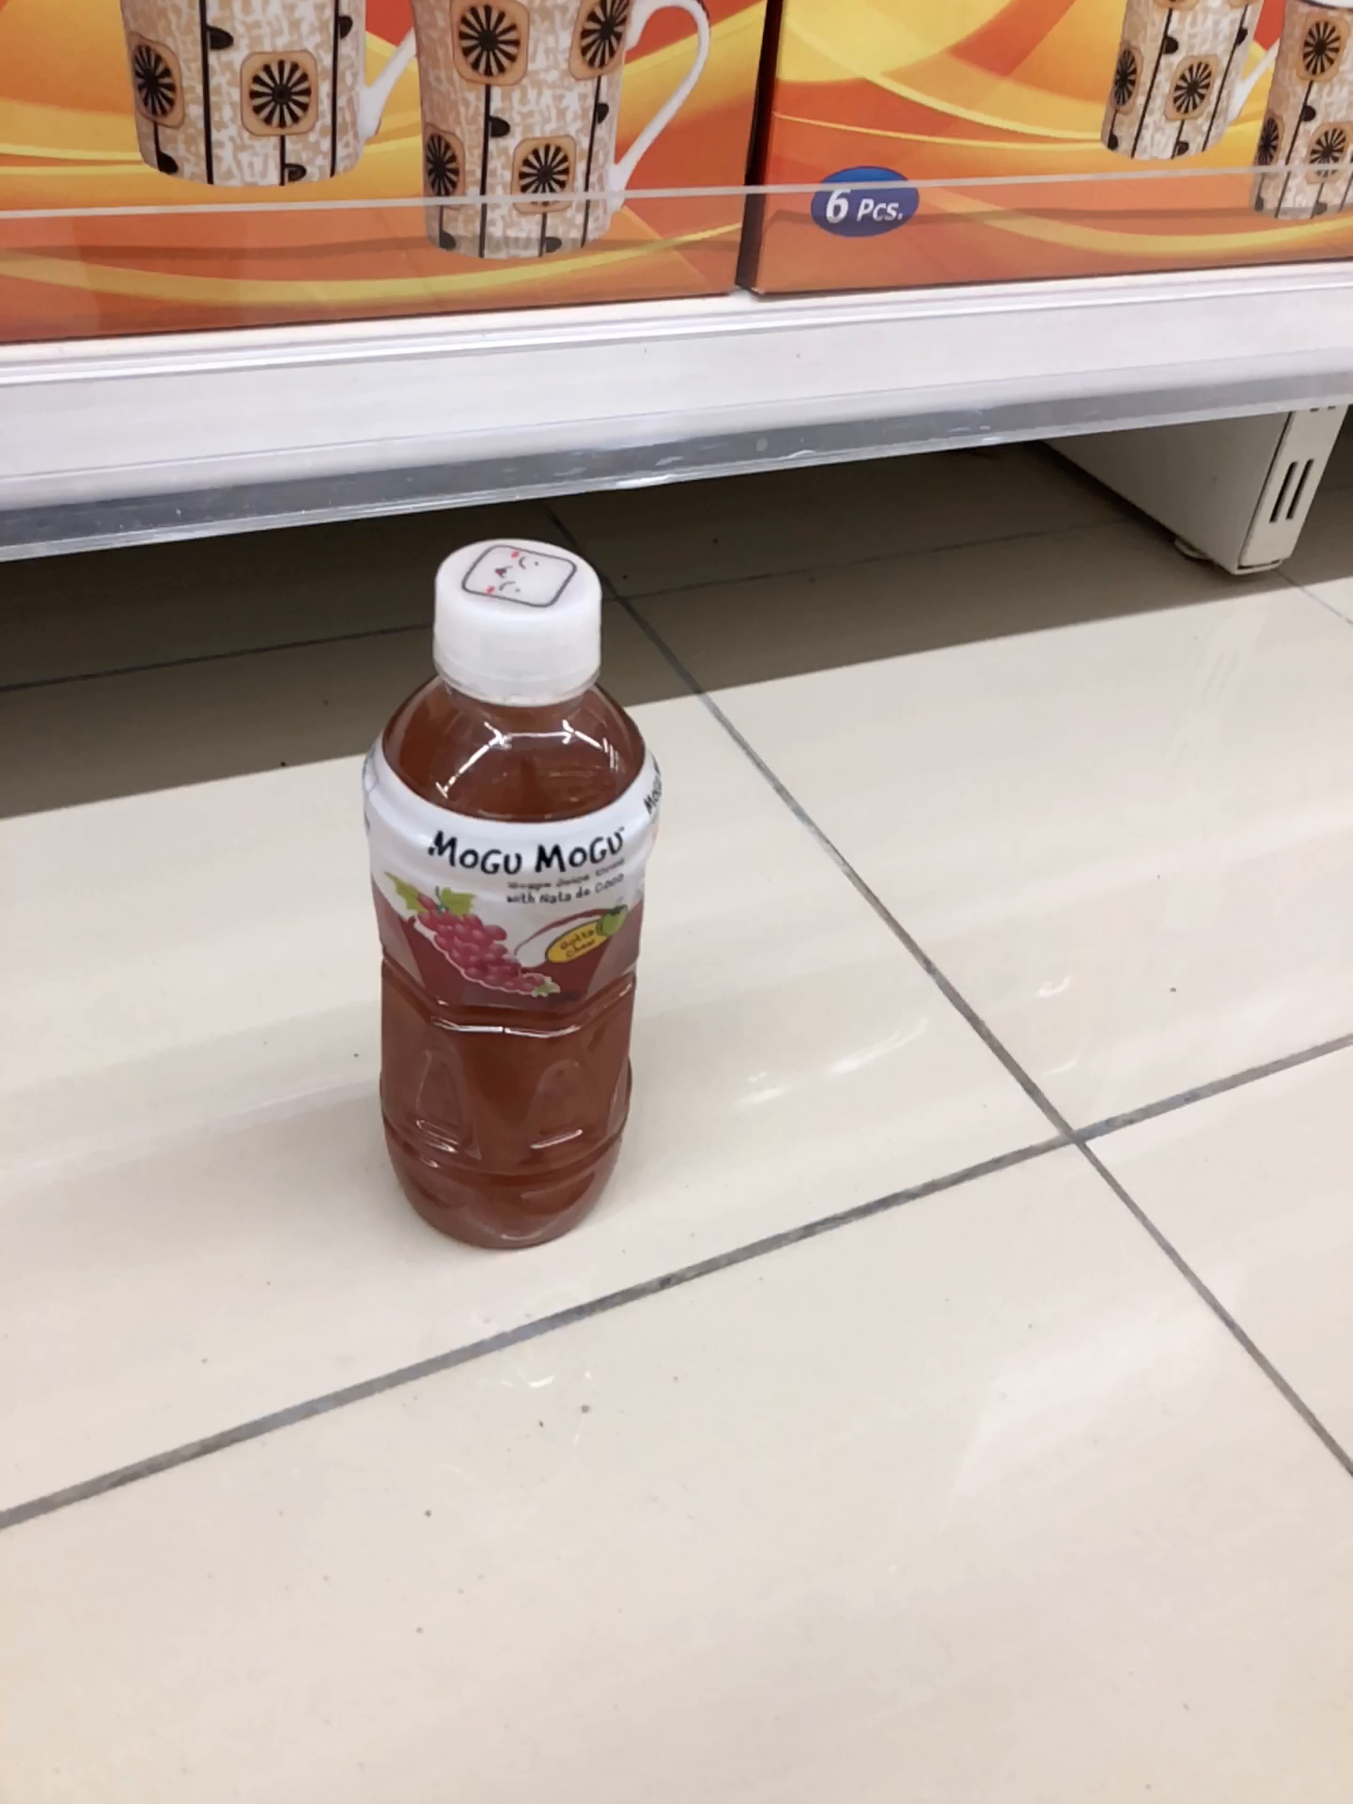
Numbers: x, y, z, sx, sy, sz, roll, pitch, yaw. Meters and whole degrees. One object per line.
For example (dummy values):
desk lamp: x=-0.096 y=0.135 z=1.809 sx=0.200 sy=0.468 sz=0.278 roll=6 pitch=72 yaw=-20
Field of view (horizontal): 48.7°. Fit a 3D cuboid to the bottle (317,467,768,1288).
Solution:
bottle: x=-0.030 y=0.003 z=0.310 sx=0.070 sy=0.159 sz=0.070 roll=4 pitch=39 yaw=-4
